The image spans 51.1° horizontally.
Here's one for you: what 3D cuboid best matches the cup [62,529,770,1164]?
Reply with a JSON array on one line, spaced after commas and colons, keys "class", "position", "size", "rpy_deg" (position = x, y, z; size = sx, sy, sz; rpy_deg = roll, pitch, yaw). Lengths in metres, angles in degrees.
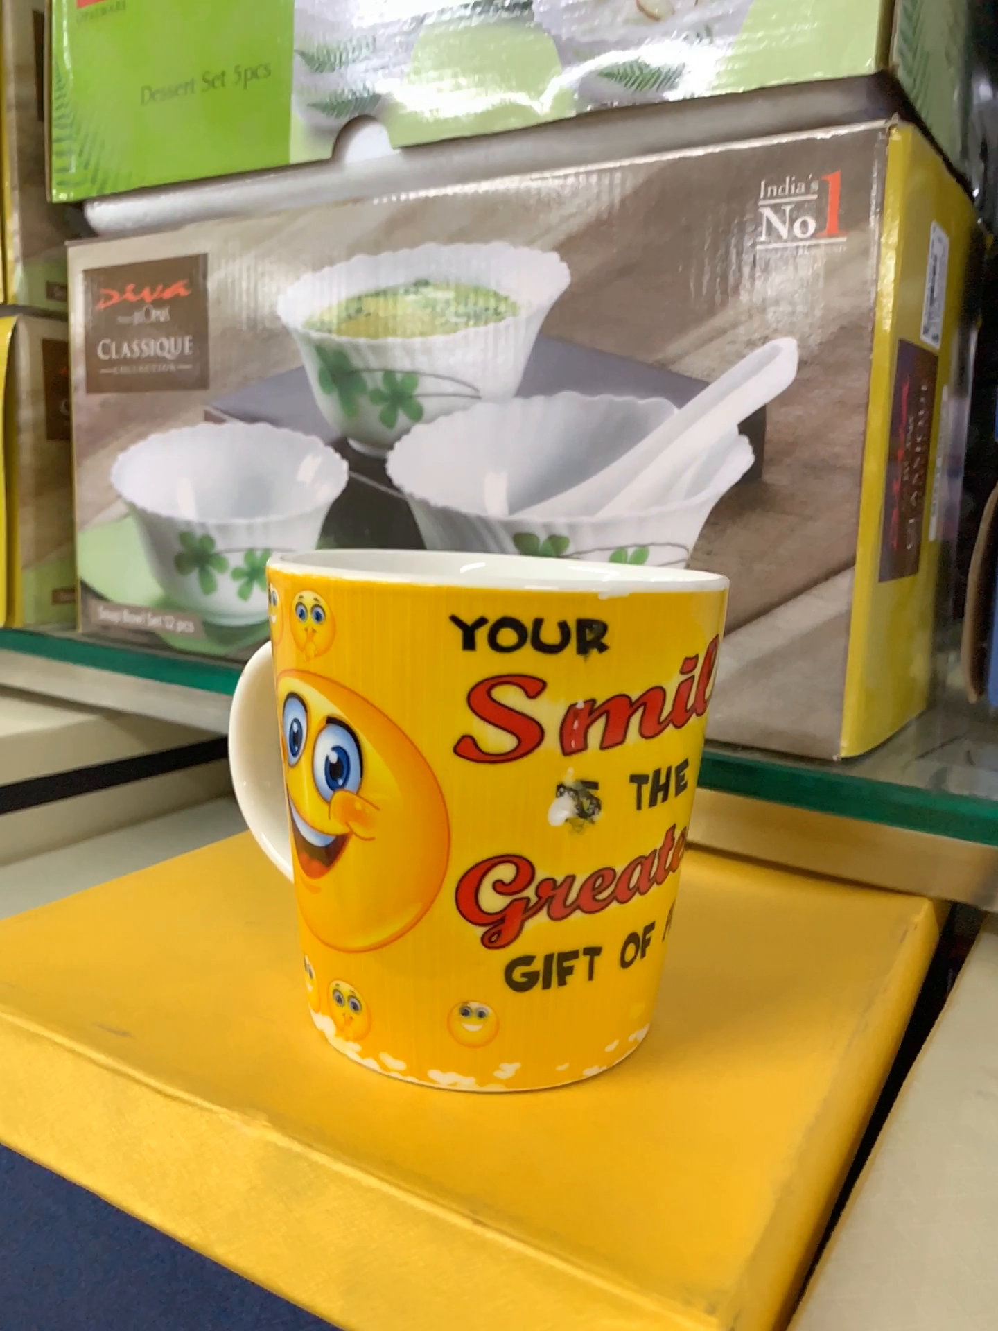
[{"class": "cup", "position": [-0.020, 0.018, 0.206], "size": [0.119, 0.081, 0.072], "rpy_deg": [10, 13, 39]}]
